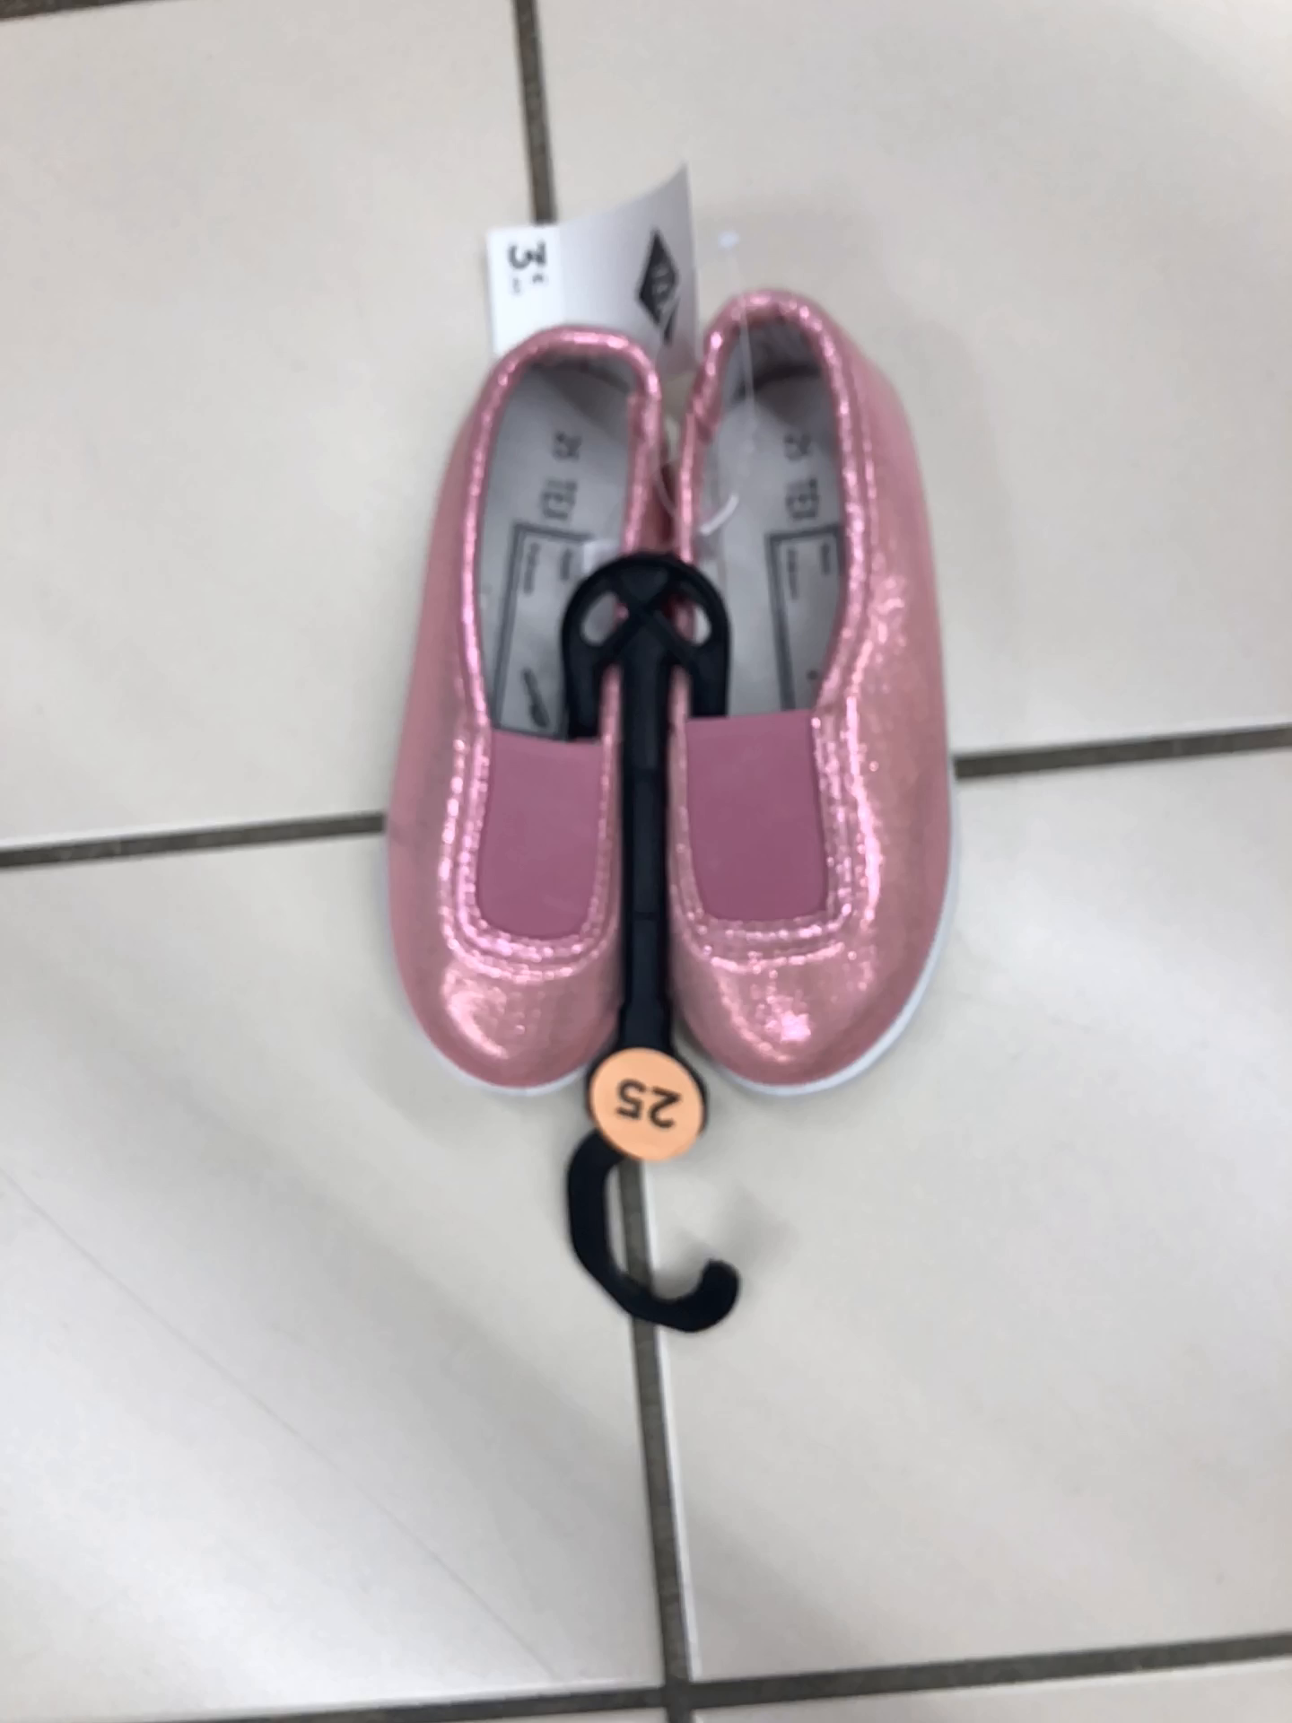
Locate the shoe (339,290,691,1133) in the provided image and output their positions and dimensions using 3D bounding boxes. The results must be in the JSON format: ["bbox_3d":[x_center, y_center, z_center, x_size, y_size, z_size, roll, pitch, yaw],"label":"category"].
[{"bbox_3d":[-0.024,-0.029,0.306,0.059,0.051,0.161,3,88,2],"label":"shoe"}]

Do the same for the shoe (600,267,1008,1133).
[{"bbox_3d":[0.031,-0.031,0.304,0.069,0.050,0.163,-3,88,2],"label":"shoe"}]
